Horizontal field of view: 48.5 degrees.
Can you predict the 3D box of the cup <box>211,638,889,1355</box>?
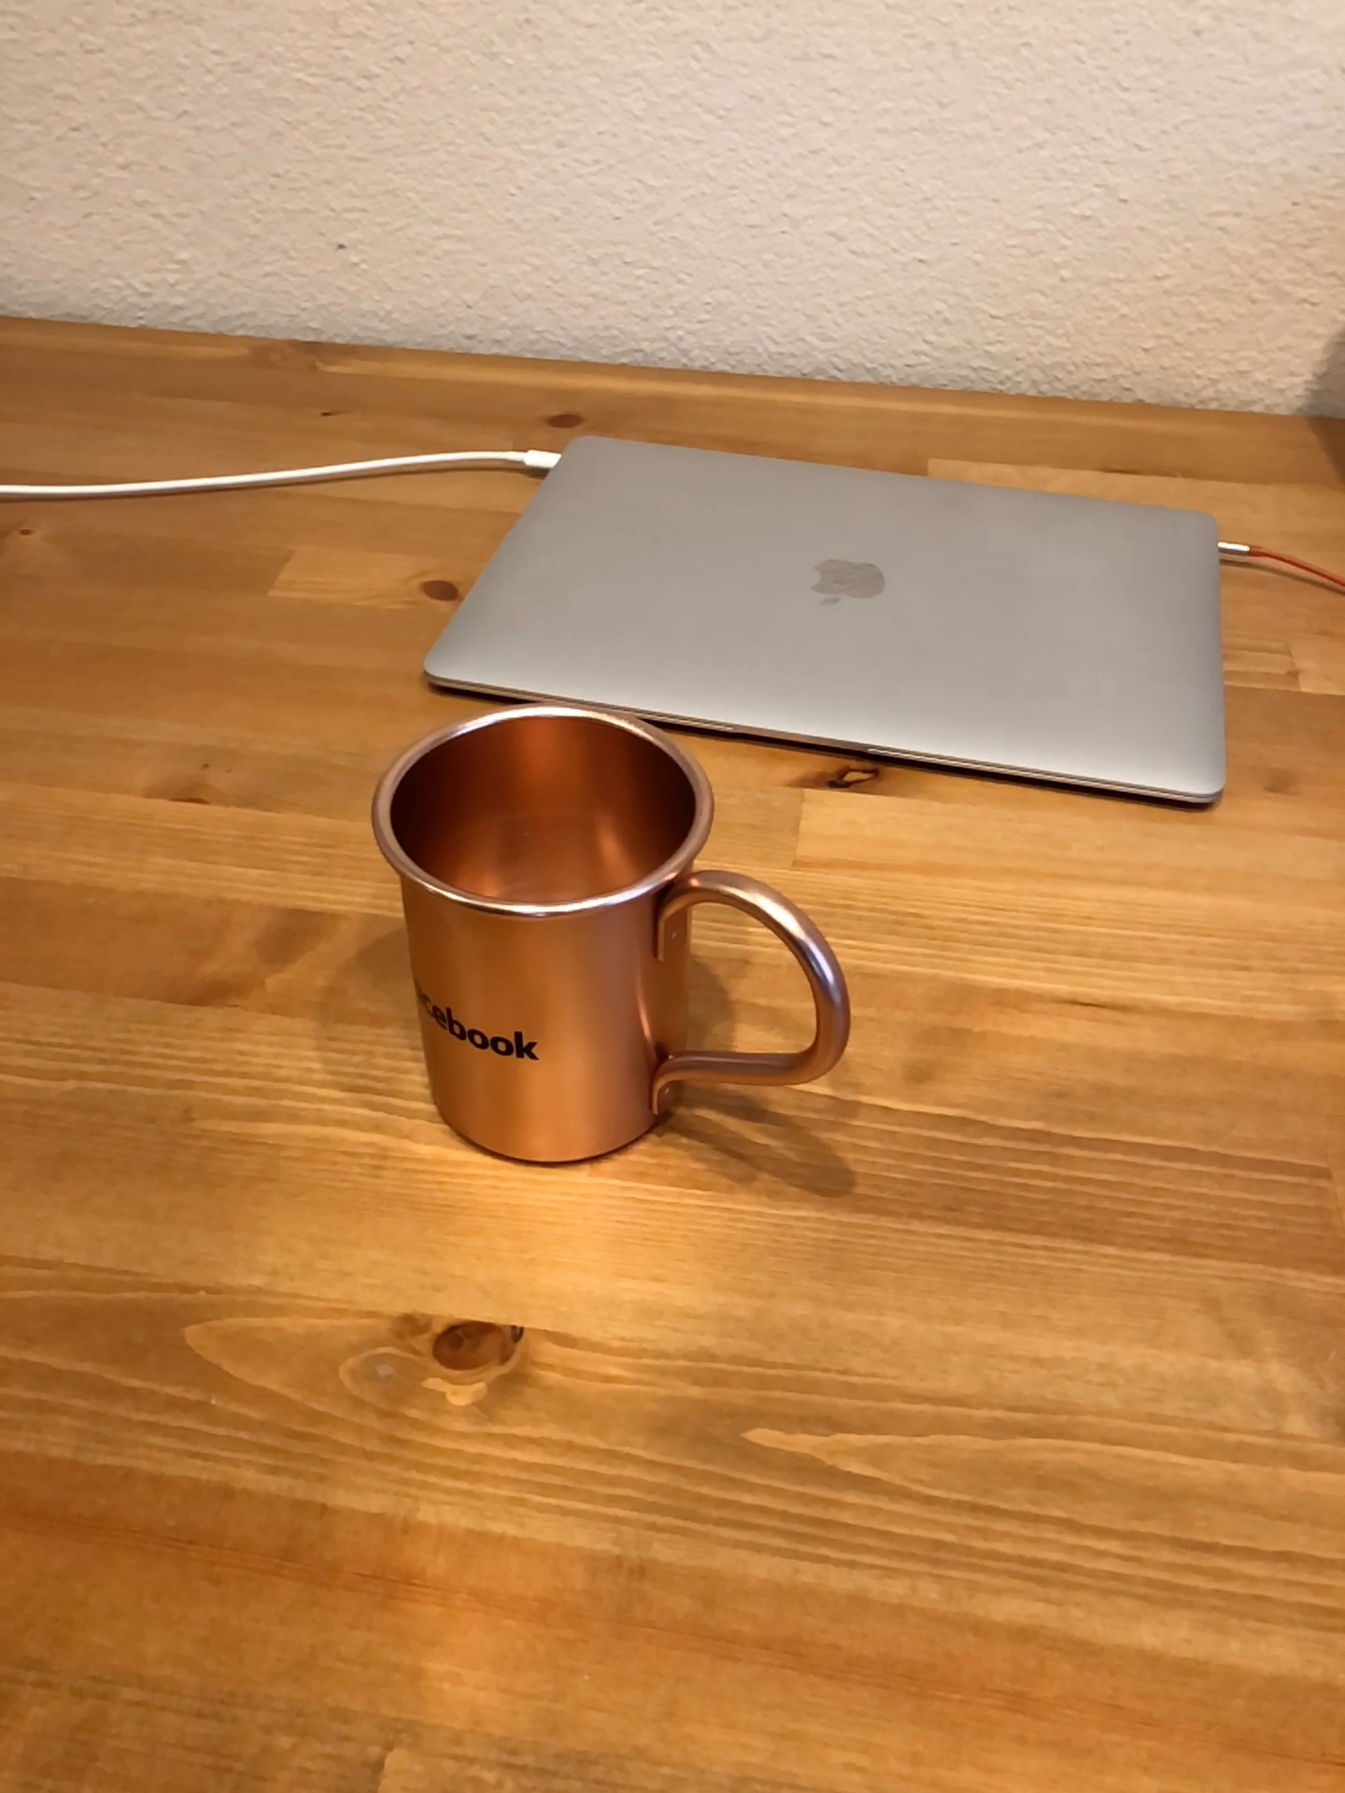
[{"bbox_3d":[-0.029,0.019,0.362,0.130,0.100,0.080,29,48,29],"label":"cup"}]
